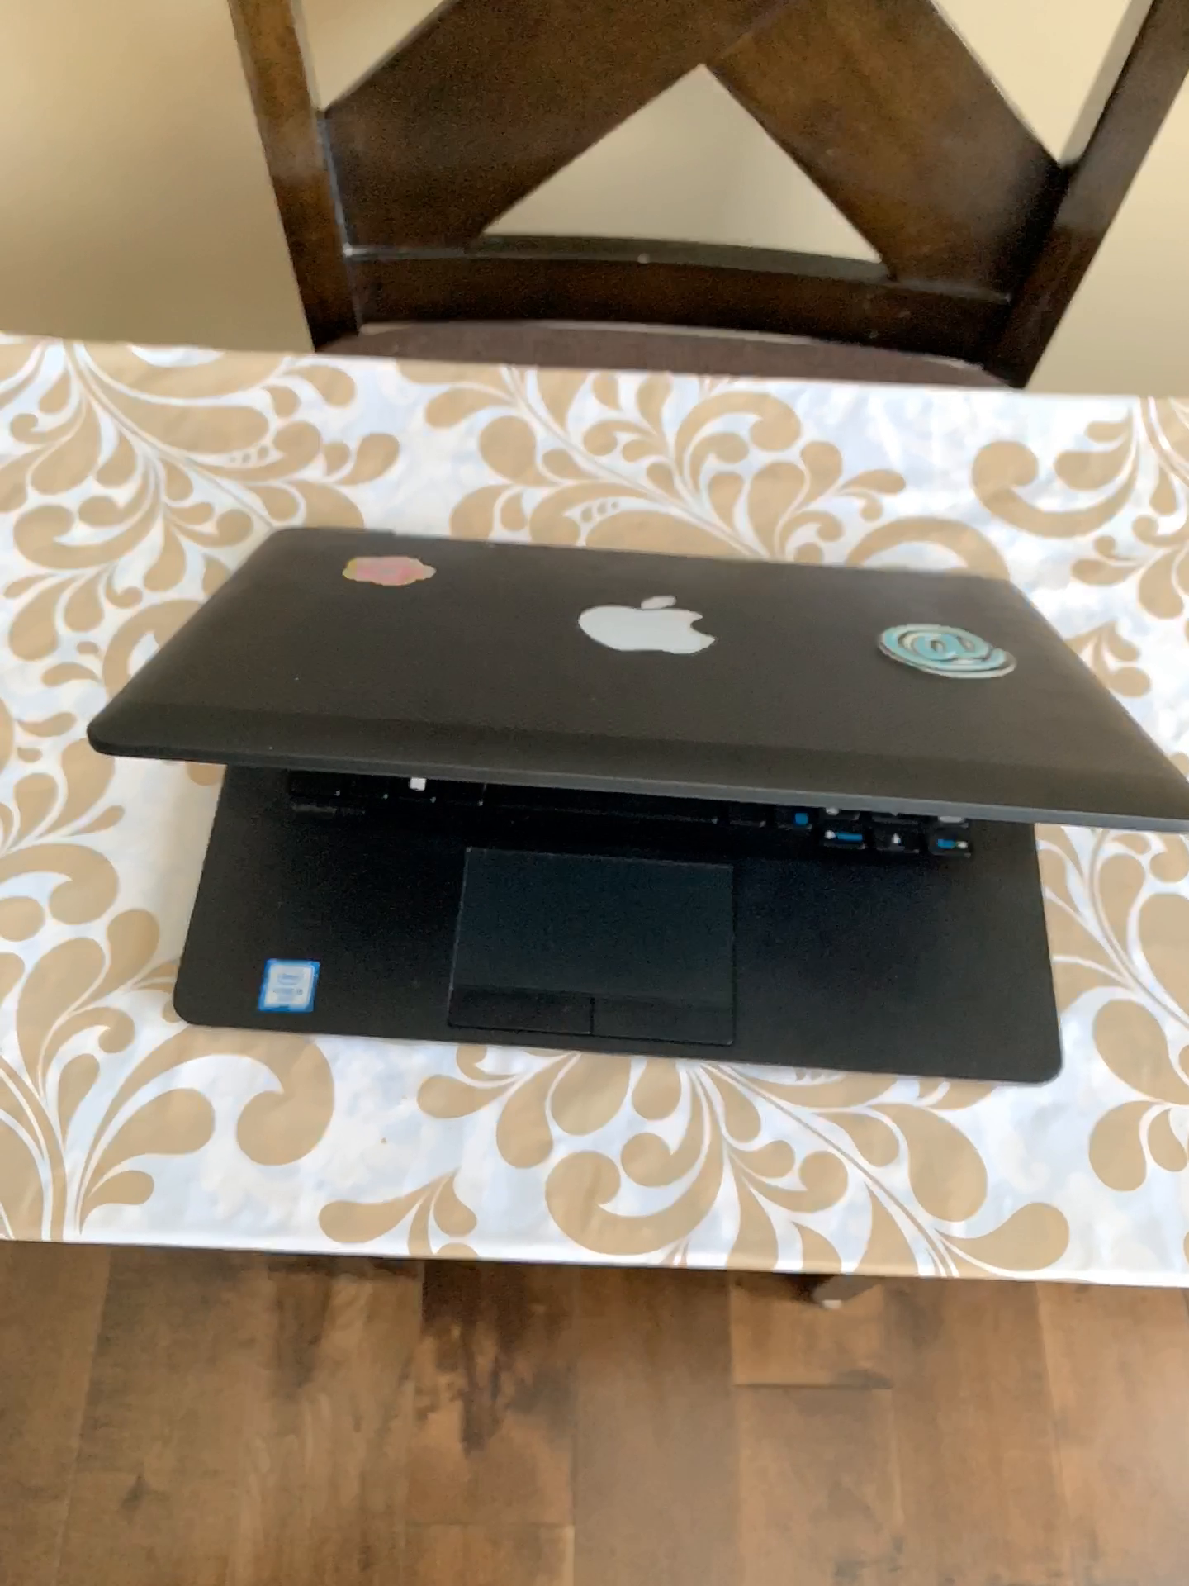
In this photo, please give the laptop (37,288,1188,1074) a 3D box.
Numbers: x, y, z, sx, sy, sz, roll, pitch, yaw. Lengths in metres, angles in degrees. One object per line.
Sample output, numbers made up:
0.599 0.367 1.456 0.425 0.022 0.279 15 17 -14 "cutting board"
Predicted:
0.017 -0.033 0.406 0.300 0.127 0.199 5 62 -1 "laptop"
